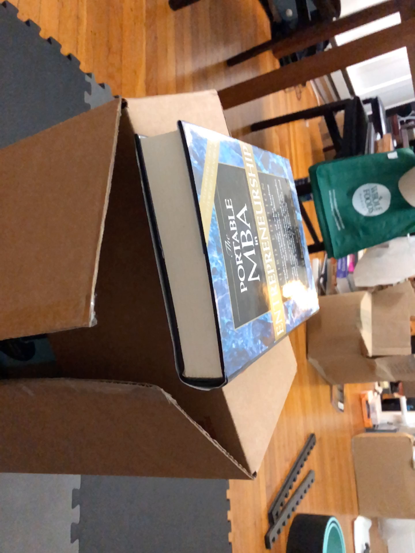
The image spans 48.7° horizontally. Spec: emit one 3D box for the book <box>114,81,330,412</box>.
[{"bbox_3d":[0.040,-0.031,0.423,0.271,0.060,0.210,-18,97,-64],"label":"book"}]
